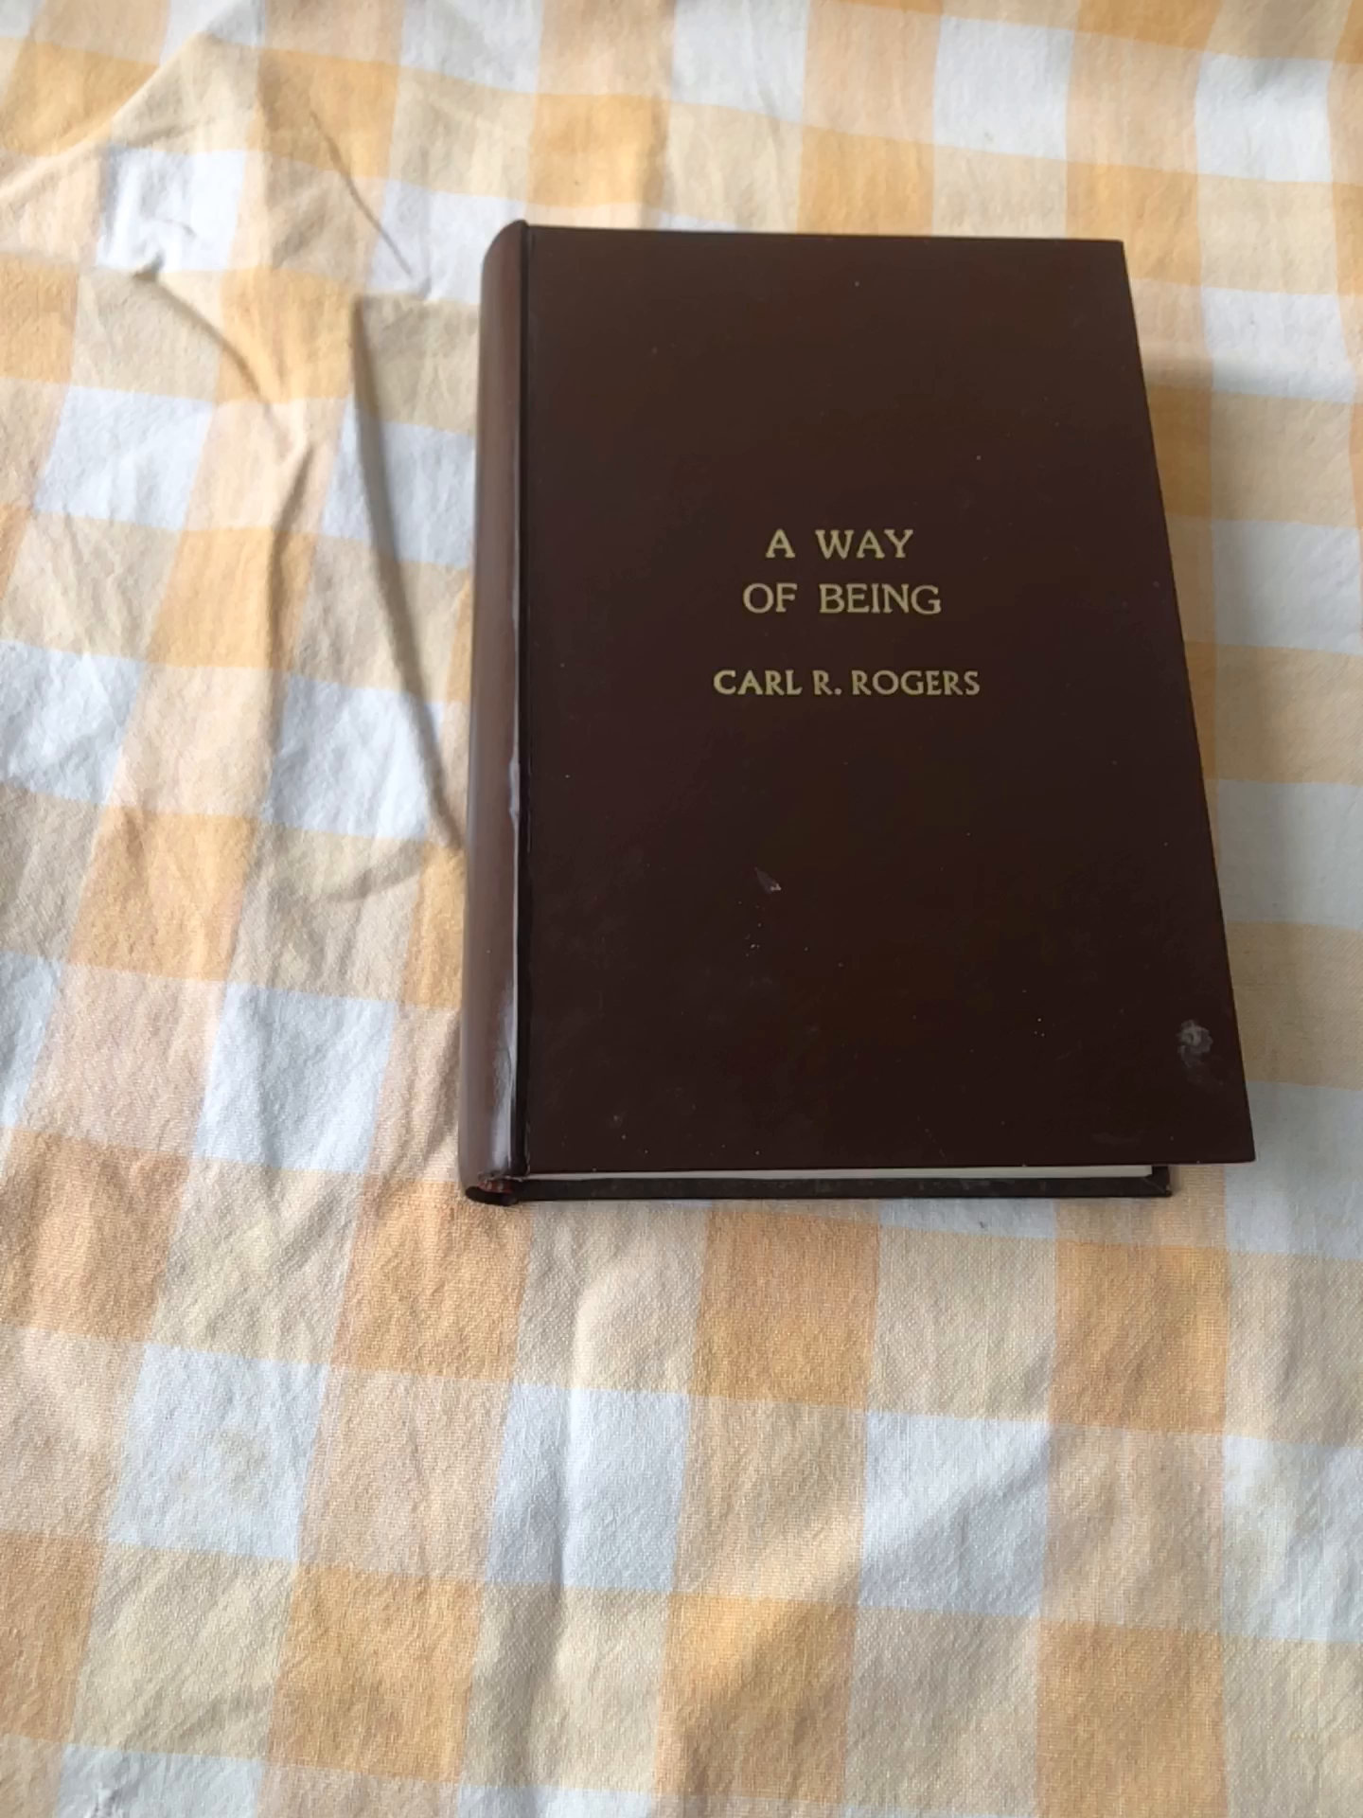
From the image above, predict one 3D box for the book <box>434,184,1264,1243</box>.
[{"bbox_3d":[0.025,-0.042,0.315,0.140,0.060,0.210,0,71,-4],"label":"book"}]
